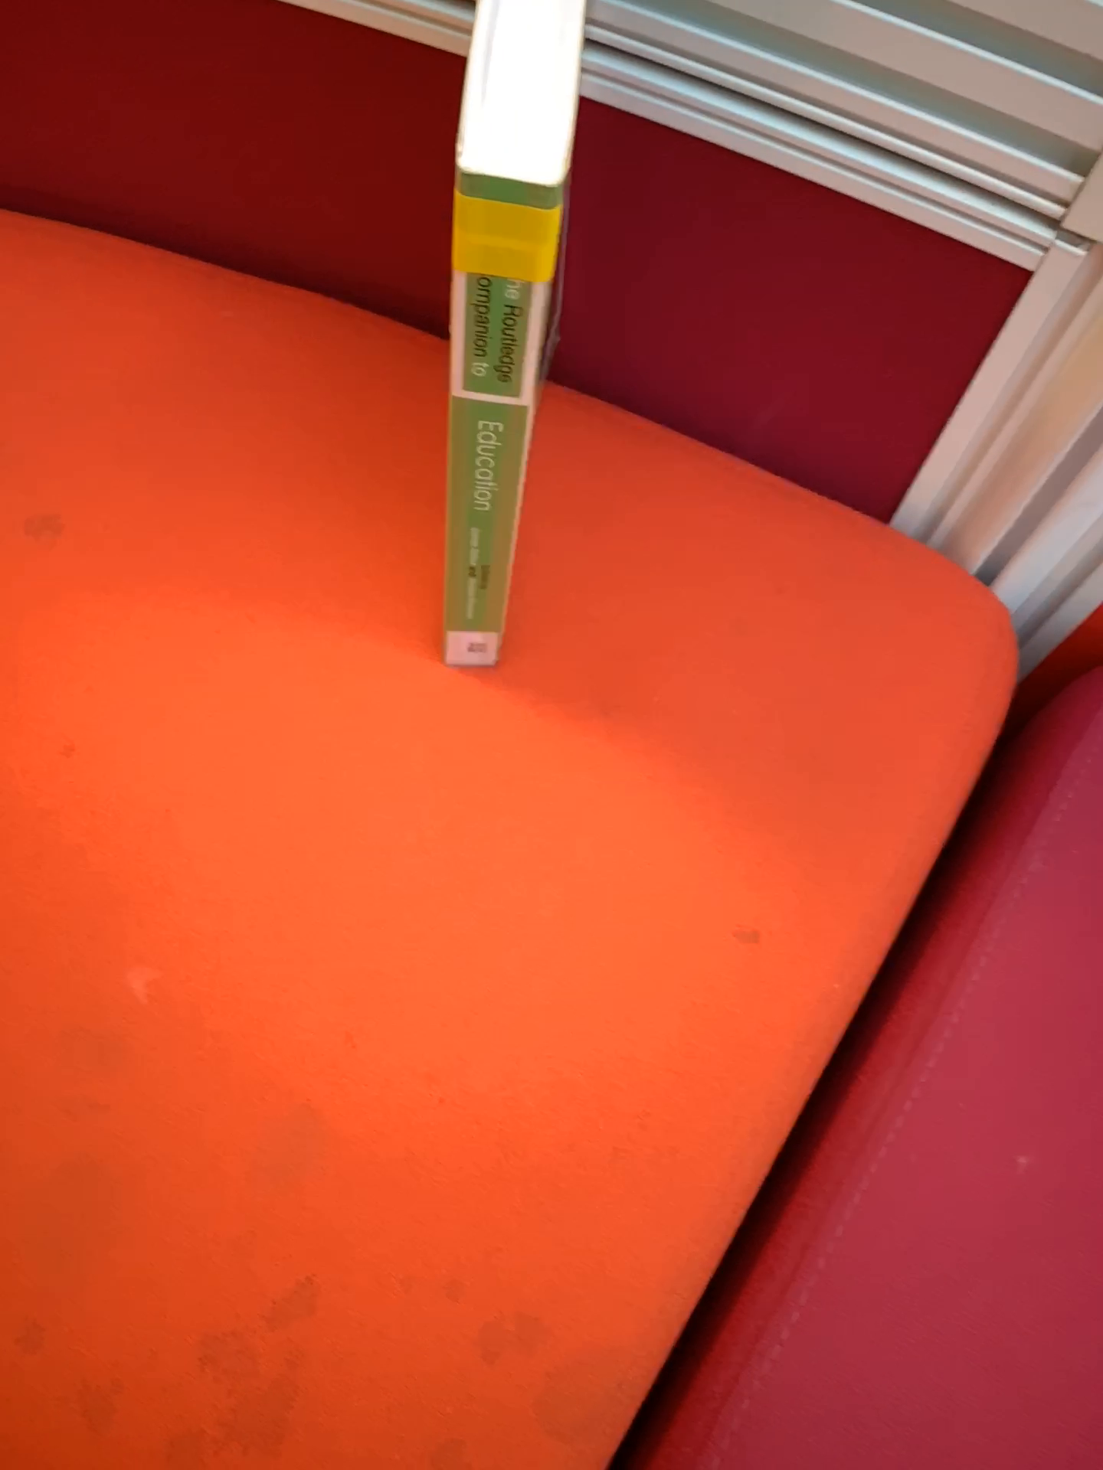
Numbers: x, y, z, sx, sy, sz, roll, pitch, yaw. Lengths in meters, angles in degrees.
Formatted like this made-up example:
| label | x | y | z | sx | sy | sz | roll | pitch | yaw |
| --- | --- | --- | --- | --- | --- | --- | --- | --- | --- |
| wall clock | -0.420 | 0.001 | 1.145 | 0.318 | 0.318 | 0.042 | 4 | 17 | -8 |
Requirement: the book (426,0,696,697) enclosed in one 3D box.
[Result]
| label | x | y | z | sx | sy | sz | roll | pitch | yaw |
| --- | --- | --- | --- | --- | --- | --- | --- | --- | --- |
| book | -0.006 | -0.162 | 0.408 | 0.040 | 0.269 | 0.201 | 10 | 67 | -2 |
